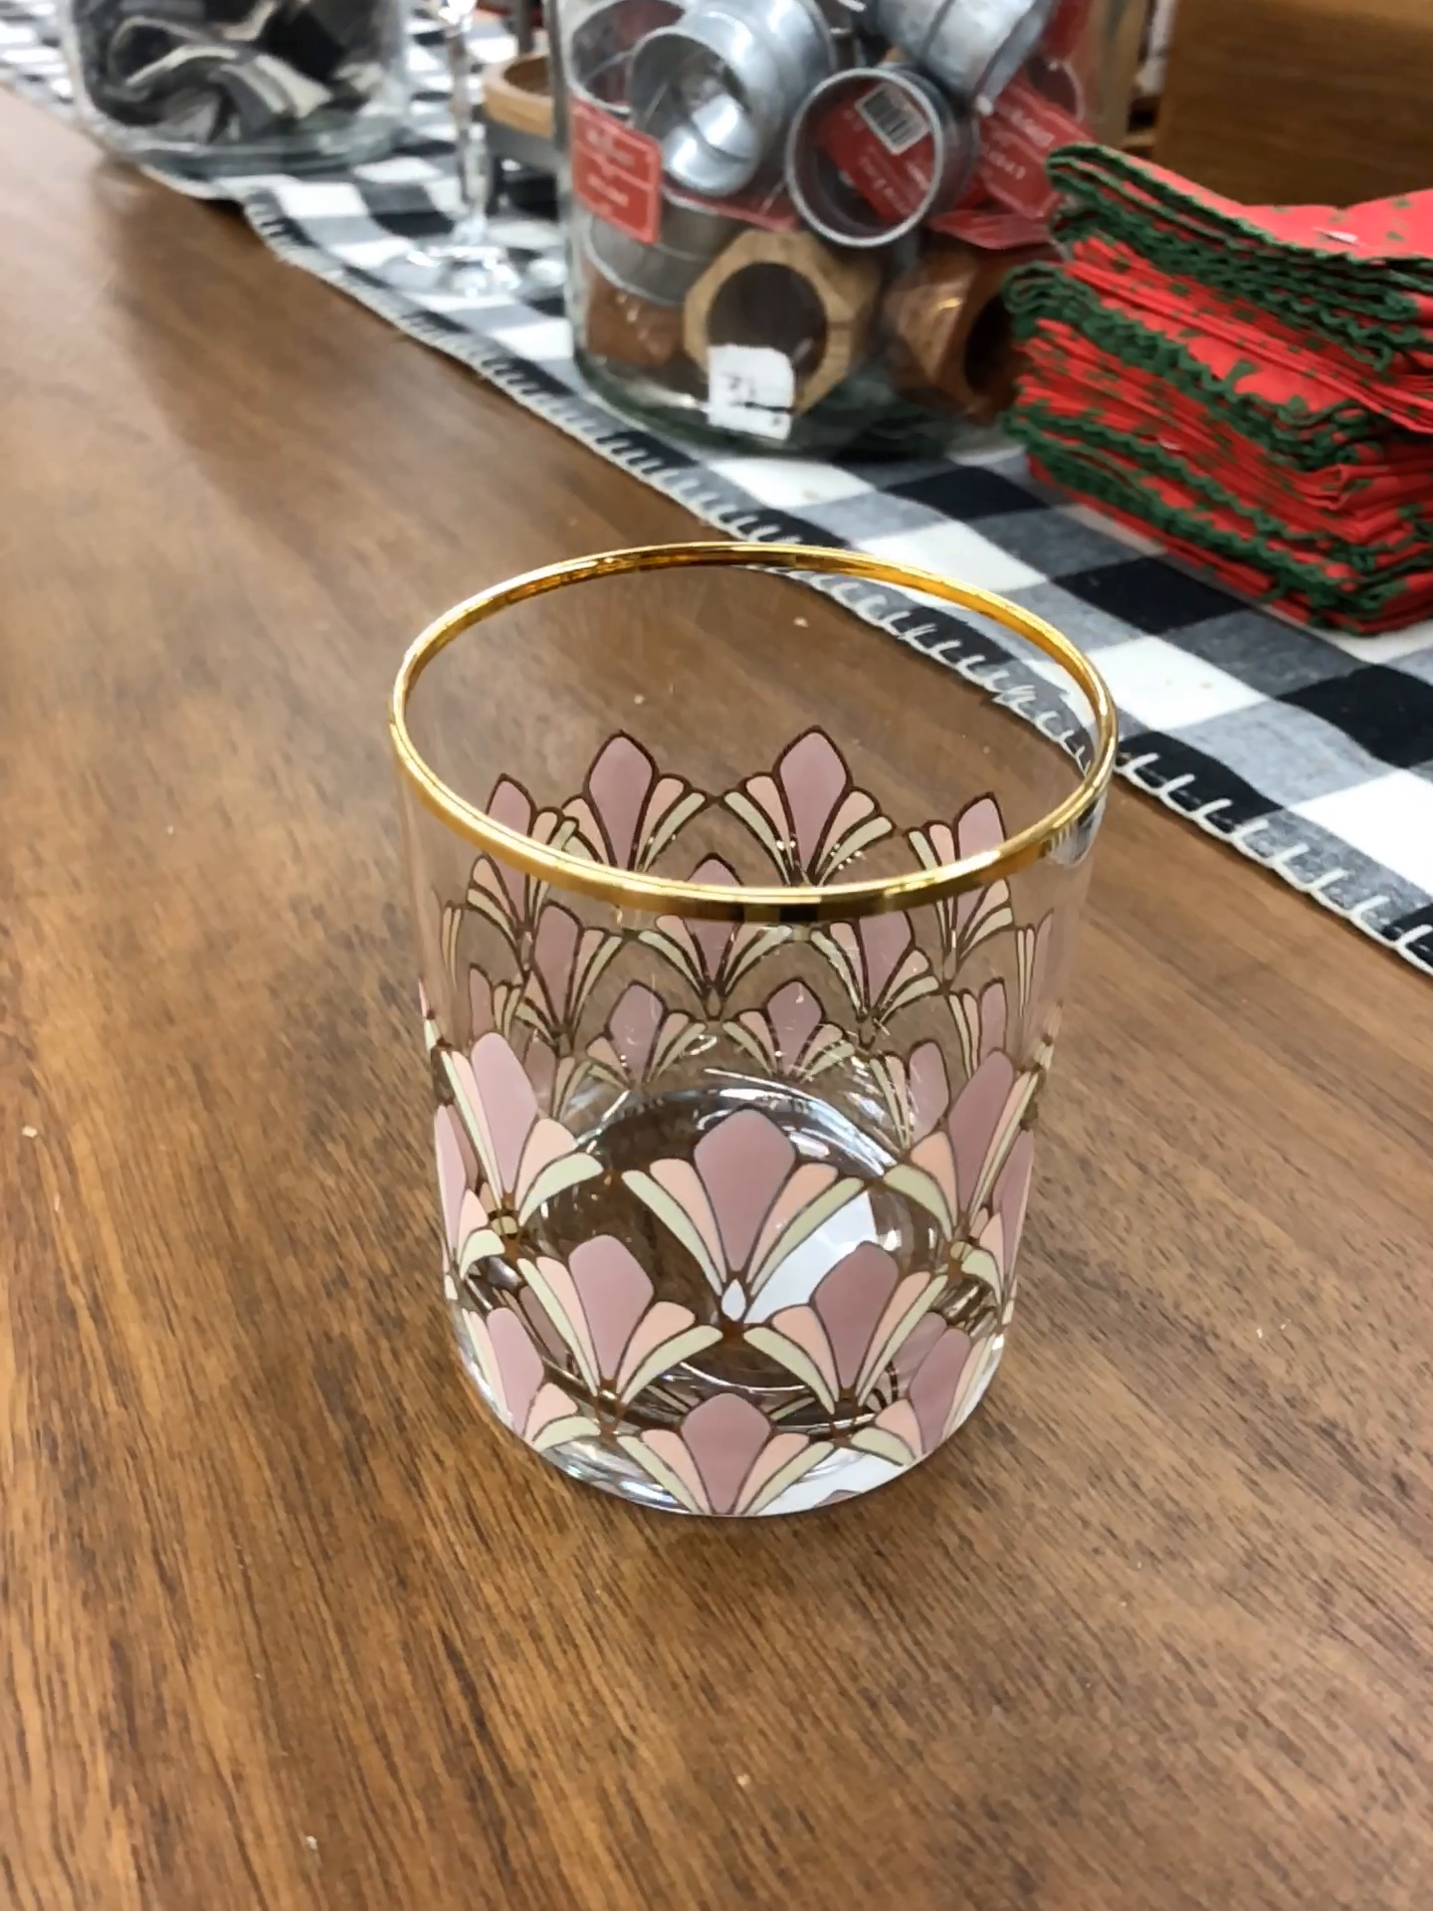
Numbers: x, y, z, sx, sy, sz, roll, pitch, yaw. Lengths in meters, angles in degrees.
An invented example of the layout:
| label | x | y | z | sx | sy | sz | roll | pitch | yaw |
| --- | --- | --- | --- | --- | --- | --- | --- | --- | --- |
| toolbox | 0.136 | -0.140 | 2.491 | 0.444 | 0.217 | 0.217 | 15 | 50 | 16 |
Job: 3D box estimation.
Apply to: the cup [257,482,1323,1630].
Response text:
| label | x | y | z | sx | sy | sz | roll | pitch | yaw |
| --- | --- | --- | --- | --- | --- | --- | --- | --- | --- |
| cup | 0.002 | 0.006 | 0.194 | 0.083 | 0.090 | 0.081 | 1 | 36 | -1 |
